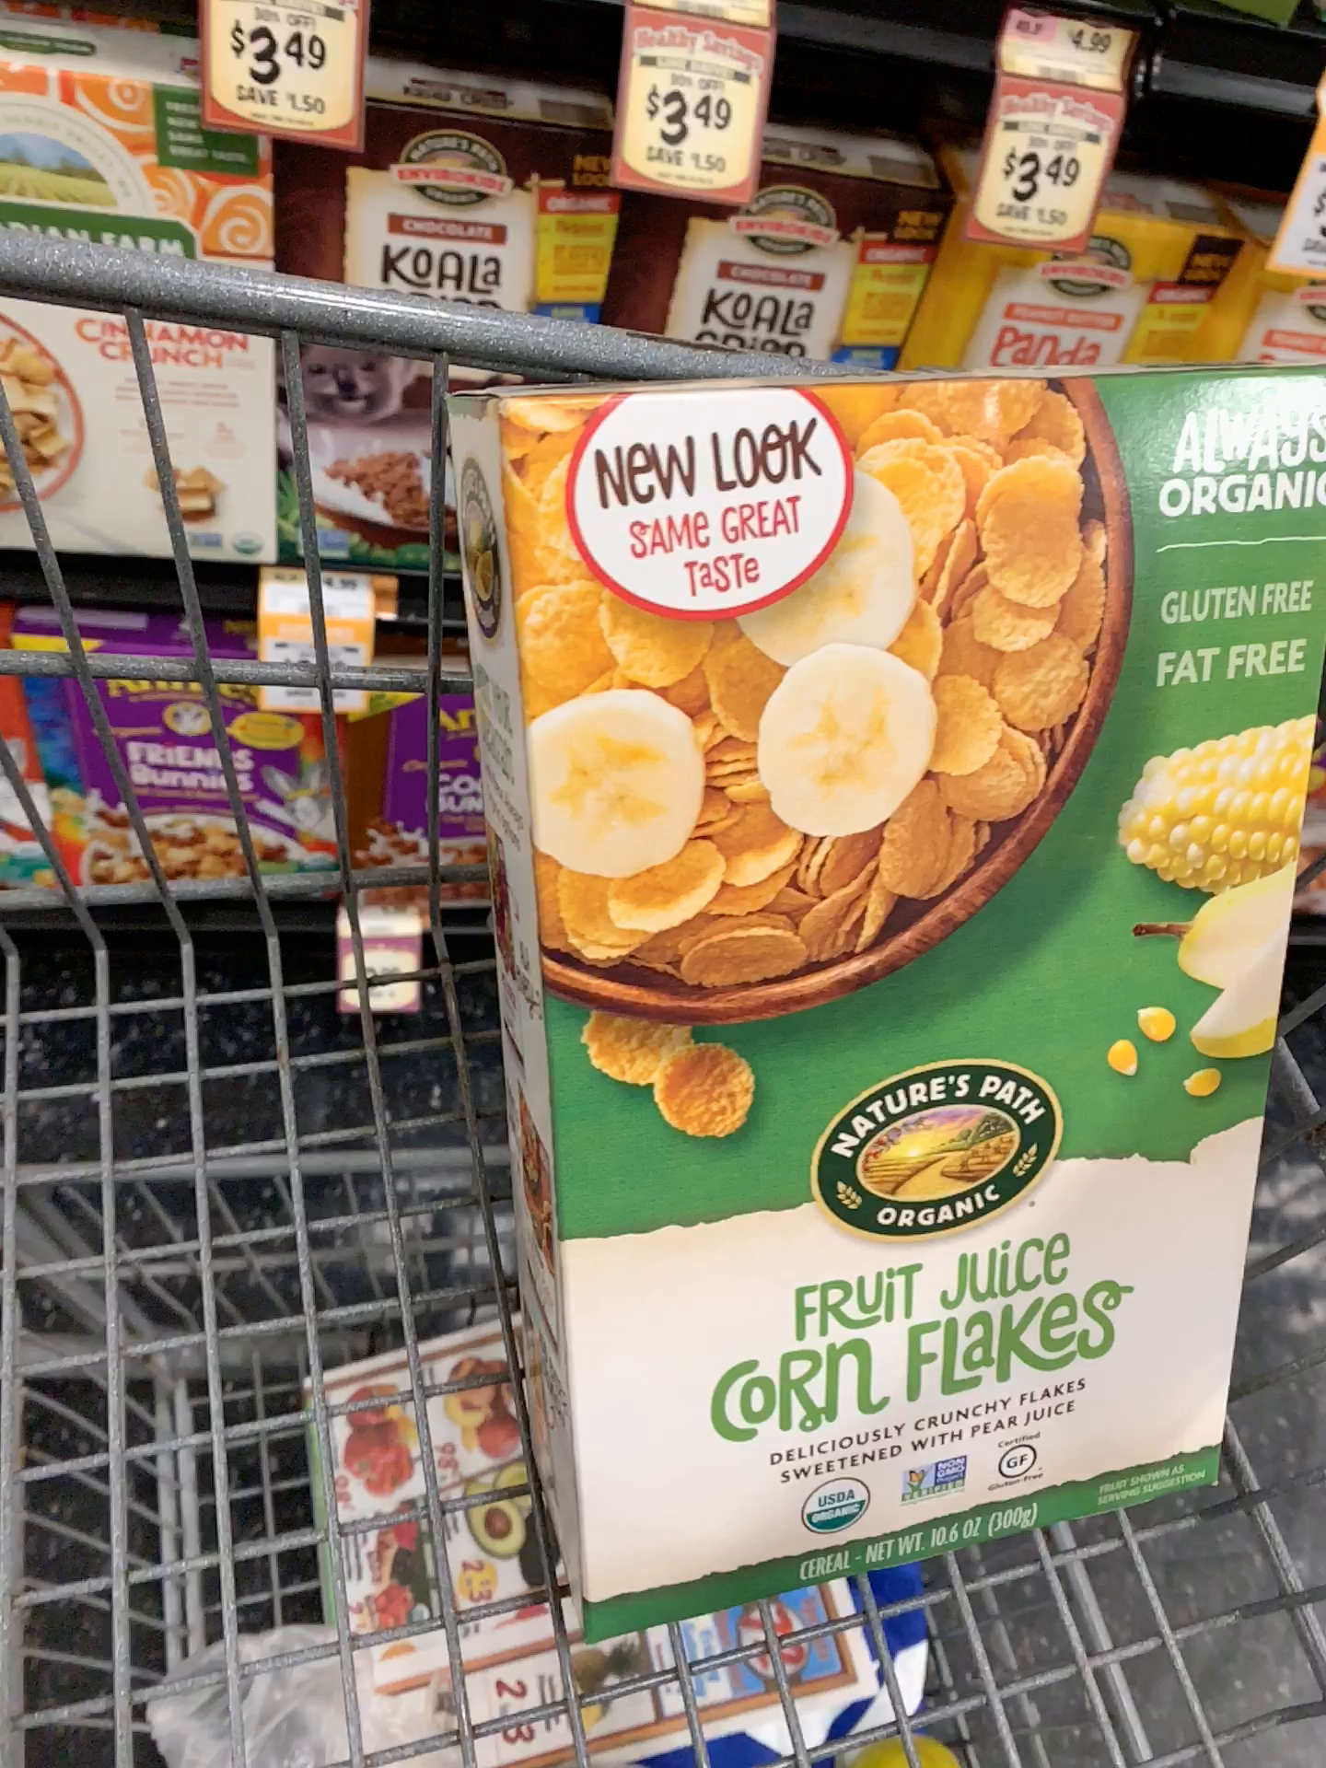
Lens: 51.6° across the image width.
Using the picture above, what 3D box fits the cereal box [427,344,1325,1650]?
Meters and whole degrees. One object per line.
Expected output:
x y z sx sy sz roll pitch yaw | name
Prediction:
0.046 0.024 0.289 0.160 0.250 0.060 -7 21 -13 | cereal box
